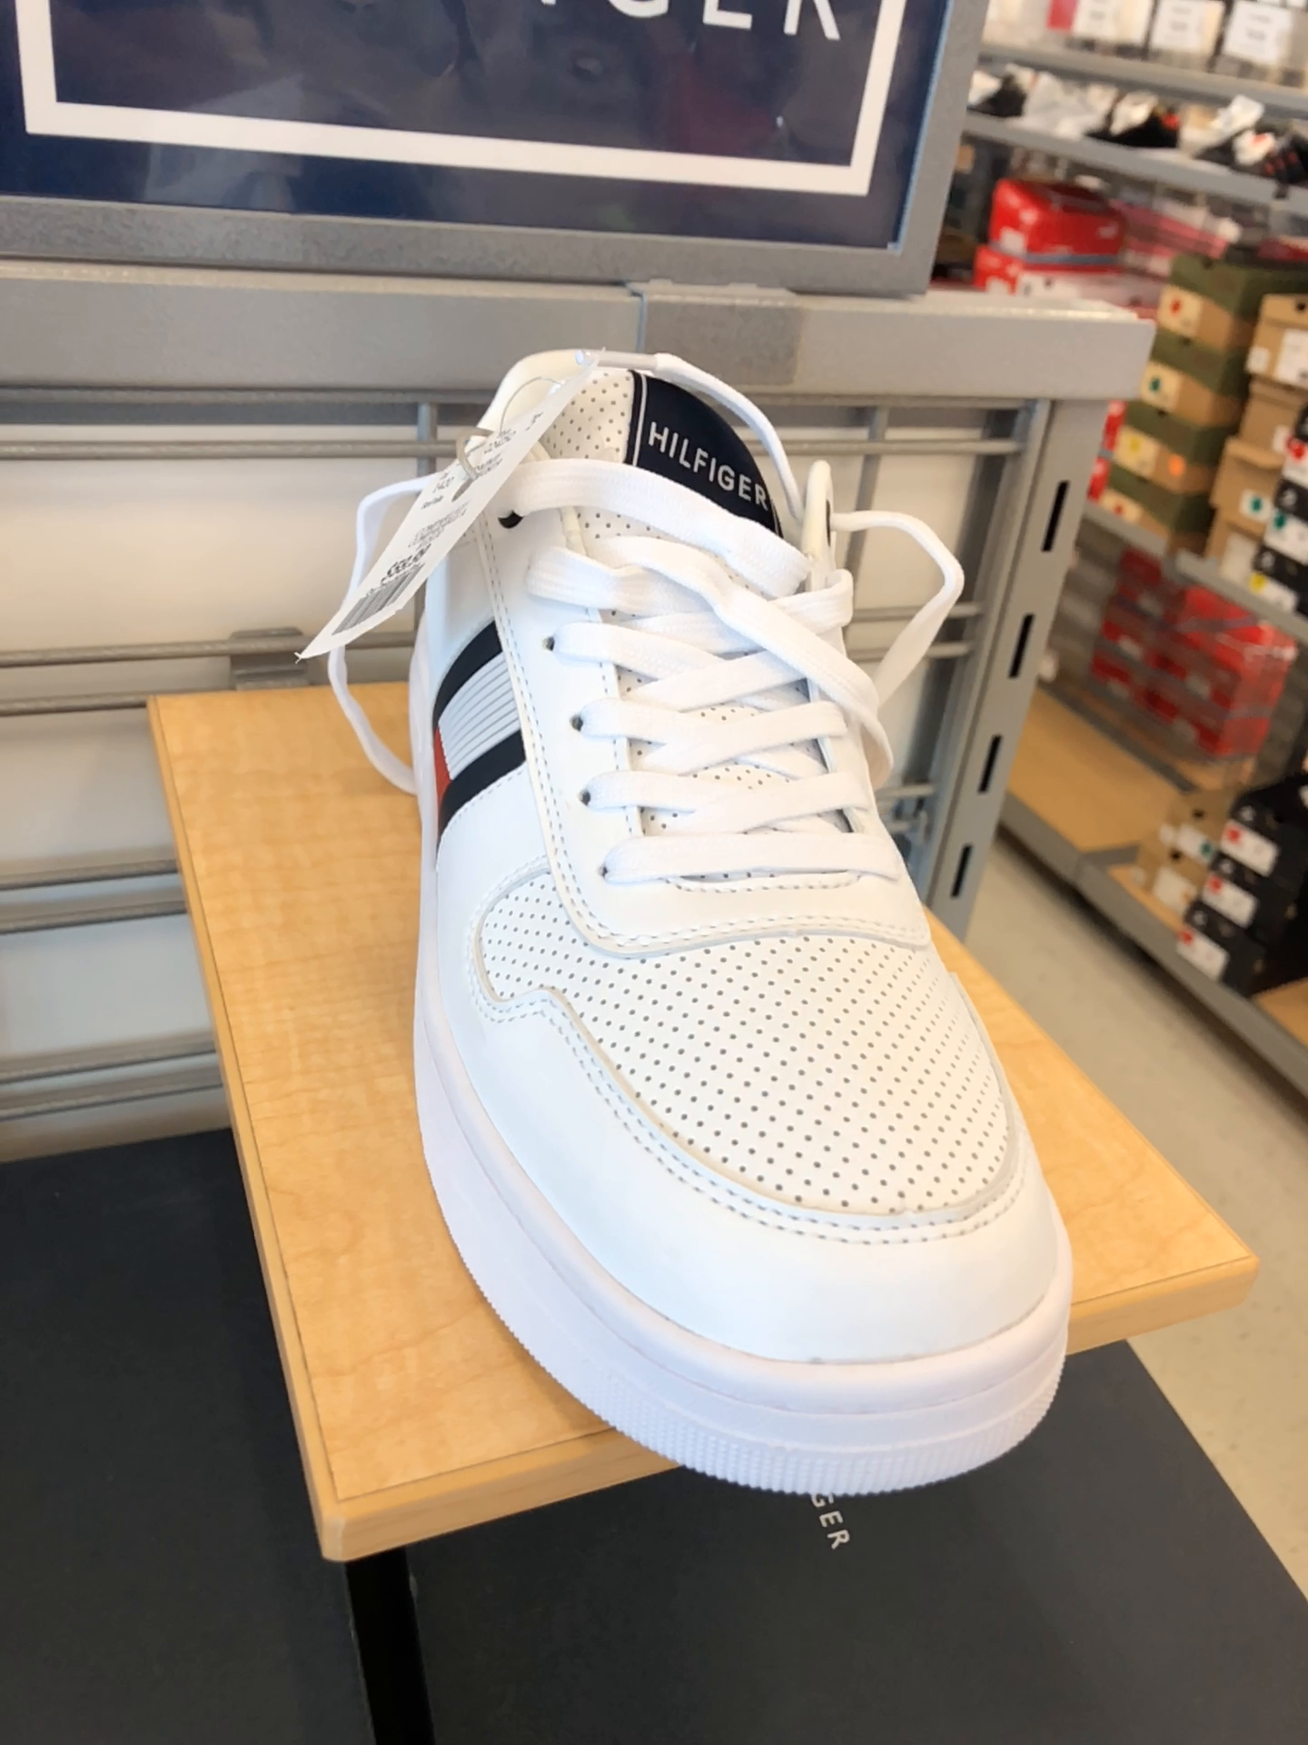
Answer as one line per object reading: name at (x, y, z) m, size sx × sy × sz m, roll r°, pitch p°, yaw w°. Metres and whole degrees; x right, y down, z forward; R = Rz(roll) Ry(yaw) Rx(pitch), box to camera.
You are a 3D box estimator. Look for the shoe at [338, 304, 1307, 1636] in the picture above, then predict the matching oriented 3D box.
shoe at (0.003, -0.023, 0.295) m, size 0.107 × 0.113 × 0.282 m, roll -3°, pitch 32°, yaw -16°
